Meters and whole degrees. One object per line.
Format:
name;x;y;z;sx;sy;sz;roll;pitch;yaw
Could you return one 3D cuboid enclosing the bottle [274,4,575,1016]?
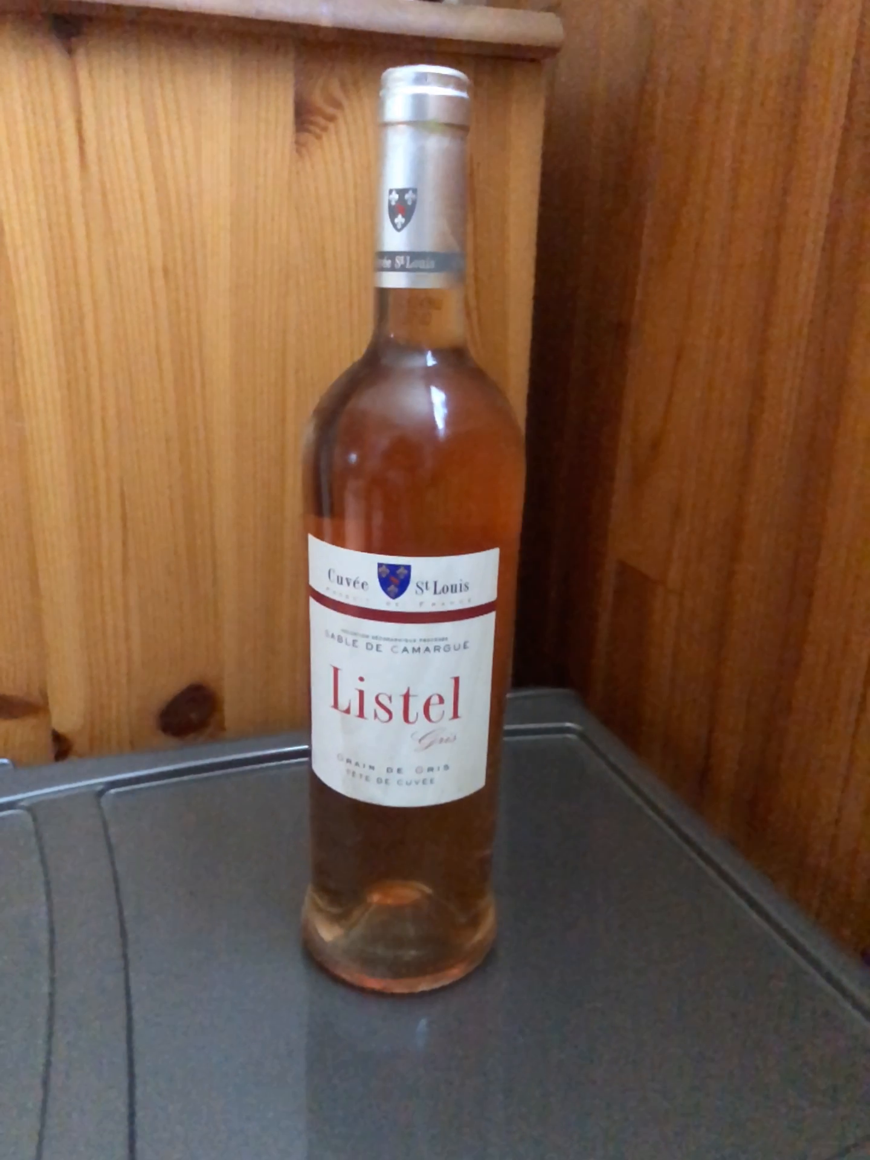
bottle;-0.005;-0.011;0.339;0.080;0.319;0.080;2;18;-1
